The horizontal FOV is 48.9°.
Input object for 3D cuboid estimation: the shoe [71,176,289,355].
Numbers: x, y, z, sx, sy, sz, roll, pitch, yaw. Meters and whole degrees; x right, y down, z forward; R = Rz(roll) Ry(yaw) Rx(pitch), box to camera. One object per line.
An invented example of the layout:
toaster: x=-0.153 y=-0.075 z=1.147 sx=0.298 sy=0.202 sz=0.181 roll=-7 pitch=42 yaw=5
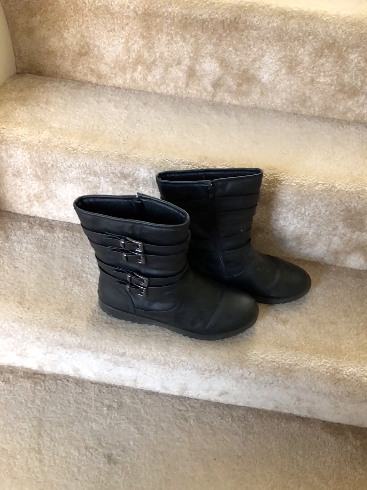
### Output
shoe: x=-0.007 y=0.035 z=0.597 sx=0.270 sy=0.199 sz=0.101 roll=12 pitch=44 yaw=5

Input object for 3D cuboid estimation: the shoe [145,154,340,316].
shoe: x=0.087 y=-0.013 z=0.671 sx=0.270 sy=0.218 sz=0.101 roll=9 pitch=44 yaw=9
